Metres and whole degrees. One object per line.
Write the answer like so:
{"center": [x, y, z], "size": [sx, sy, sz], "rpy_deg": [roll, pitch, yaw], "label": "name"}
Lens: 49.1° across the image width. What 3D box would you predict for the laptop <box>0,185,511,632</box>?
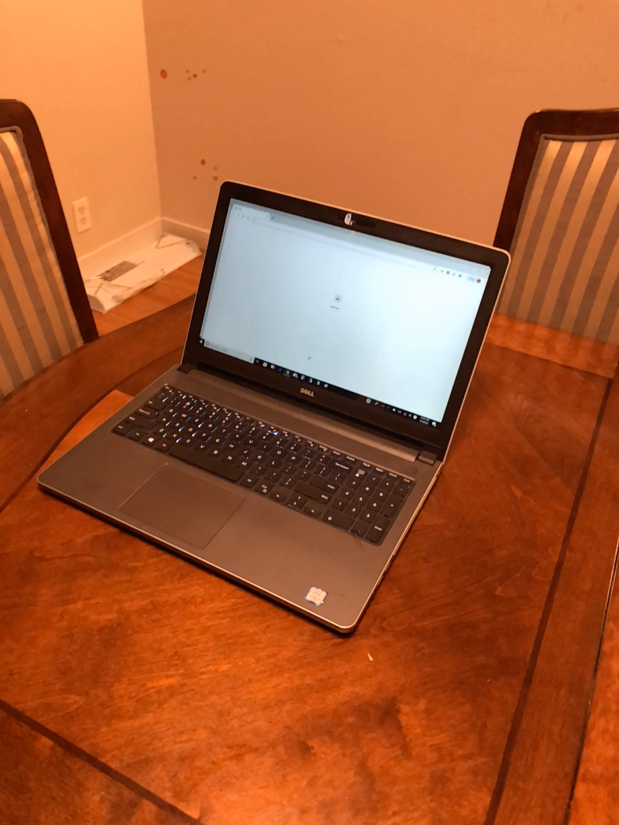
{"center": [-0.036, -0.046, 0.726], "size": [0.370, 0.212, 0.361], "rpy_deg": [21, 41, 20], "label": "laptop"}
